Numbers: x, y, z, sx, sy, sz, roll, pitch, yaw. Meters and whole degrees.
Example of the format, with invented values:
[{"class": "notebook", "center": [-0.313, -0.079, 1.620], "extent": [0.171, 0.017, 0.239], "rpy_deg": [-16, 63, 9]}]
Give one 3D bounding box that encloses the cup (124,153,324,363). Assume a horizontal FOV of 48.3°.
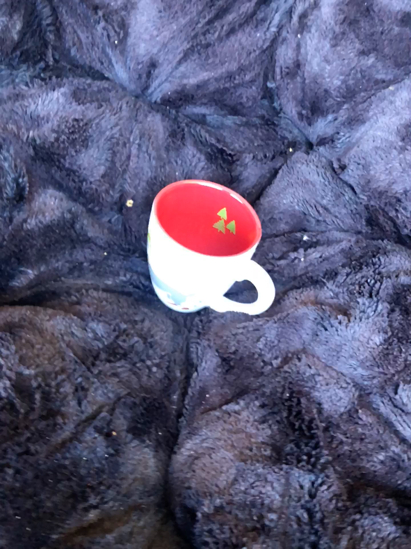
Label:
[{"class": "cup", "center": [0.011, -0.017, 0.440], "extent": [0.140, 0.110, 0.100], "rpy_deg": [34, 53, 15]}]
